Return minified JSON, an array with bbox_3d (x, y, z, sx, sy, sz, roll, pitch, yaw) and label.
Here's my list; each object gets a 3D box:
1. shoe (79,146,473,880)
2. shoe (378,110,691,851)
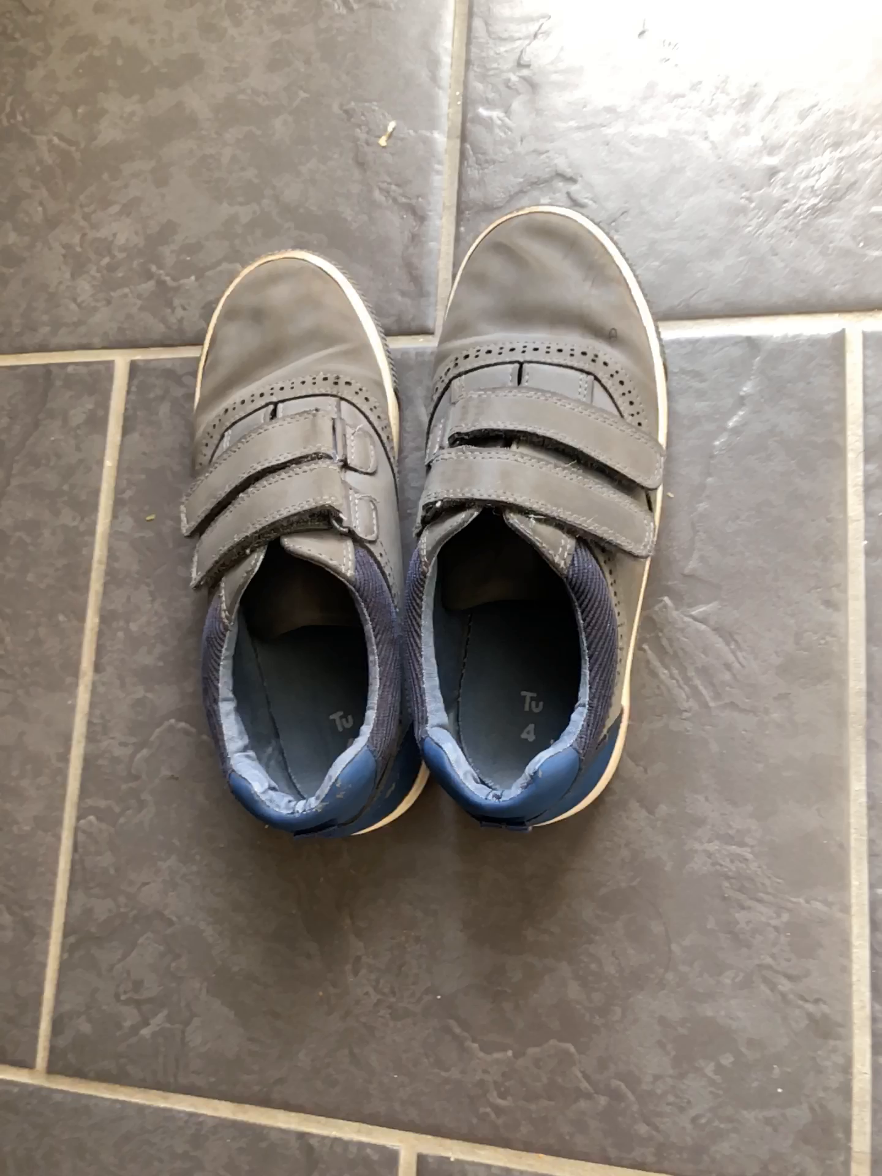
[{"bbox_3d":[-0.065,-0.027,0.379,0.100,0.070,0.250,-12,78,13],"label":"shoe"},{"bbox_3d":[0.039,-0.036,0.365,0.100,0.070,0.250,-1,80,15],"label":"shoe"}]
